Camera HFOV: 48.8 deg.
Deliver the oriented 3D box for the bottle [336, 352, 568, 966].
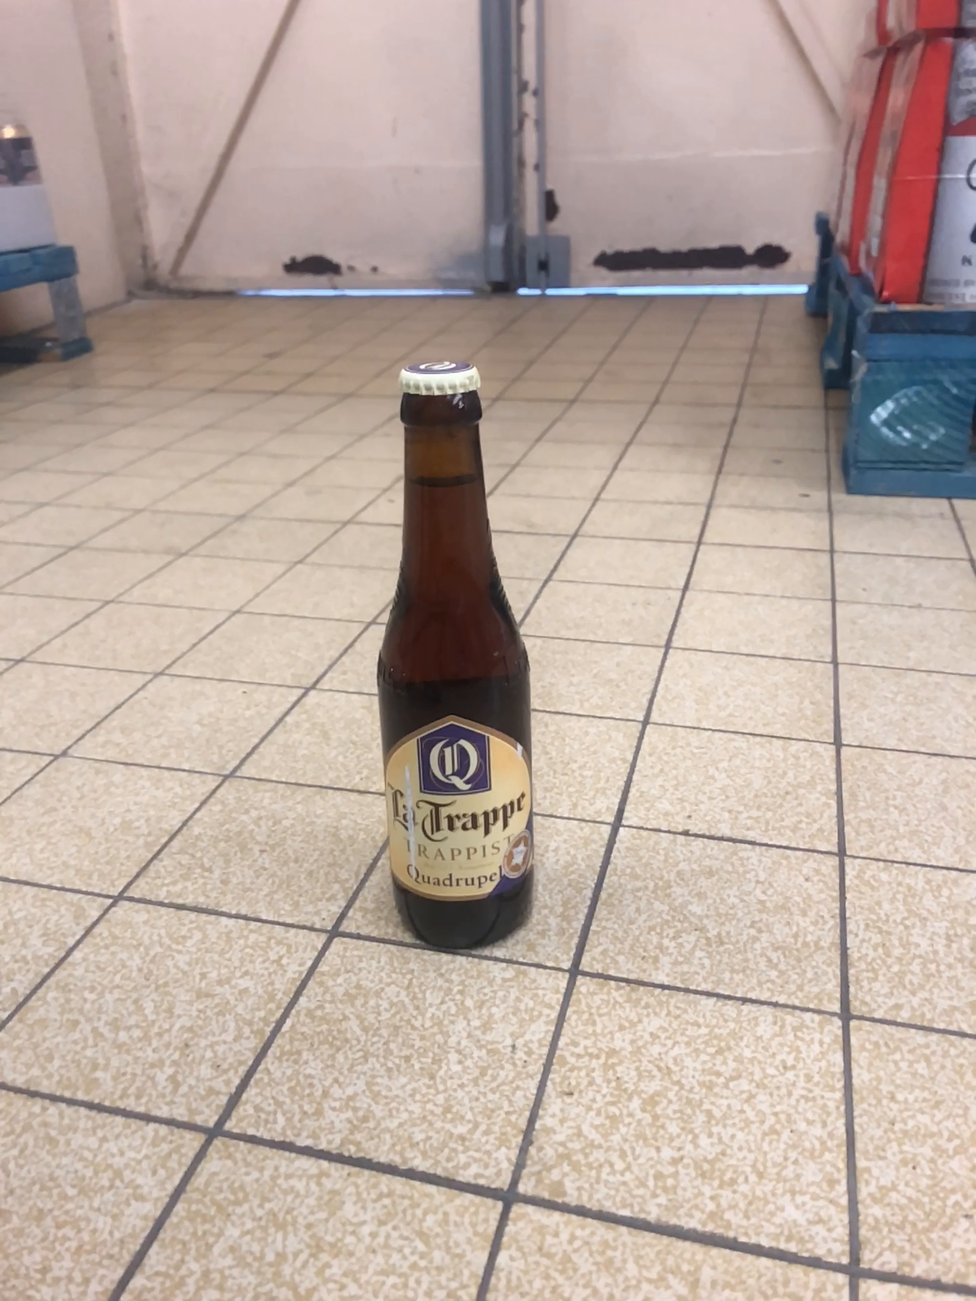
[{"bbox_3d":[-0.007,0.007,0.404,0.070,0.219,0.070,-2,24,1],"label":"bottle"}]
